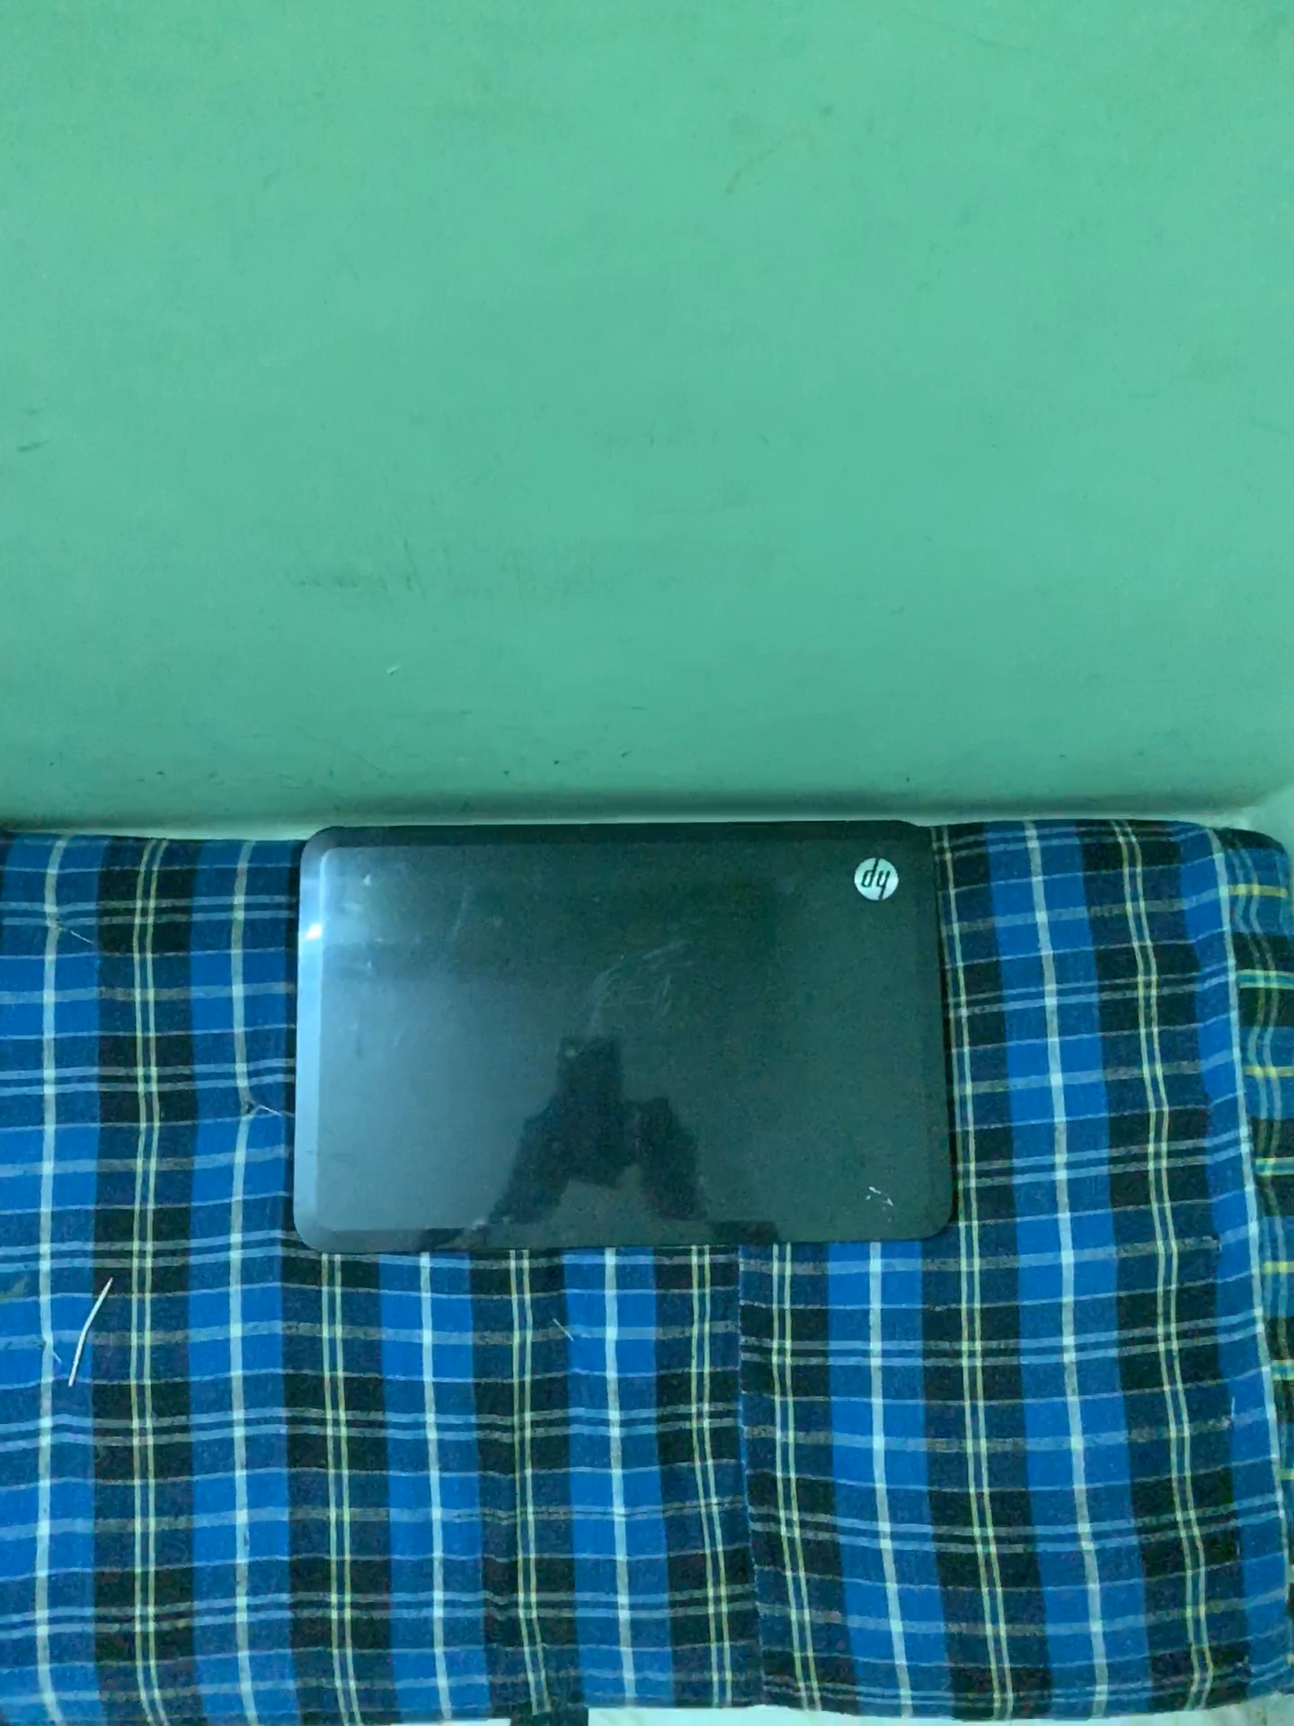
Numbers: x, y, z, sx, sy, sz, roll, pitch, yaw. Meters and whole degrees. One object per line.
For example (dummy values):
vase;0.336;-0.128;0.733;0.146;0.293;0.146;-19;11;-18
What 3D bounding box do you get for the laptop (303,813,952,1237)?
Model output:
laptop;-0.012;0.087;0.726;0.346;0.018;0.217;-2;82;-2
